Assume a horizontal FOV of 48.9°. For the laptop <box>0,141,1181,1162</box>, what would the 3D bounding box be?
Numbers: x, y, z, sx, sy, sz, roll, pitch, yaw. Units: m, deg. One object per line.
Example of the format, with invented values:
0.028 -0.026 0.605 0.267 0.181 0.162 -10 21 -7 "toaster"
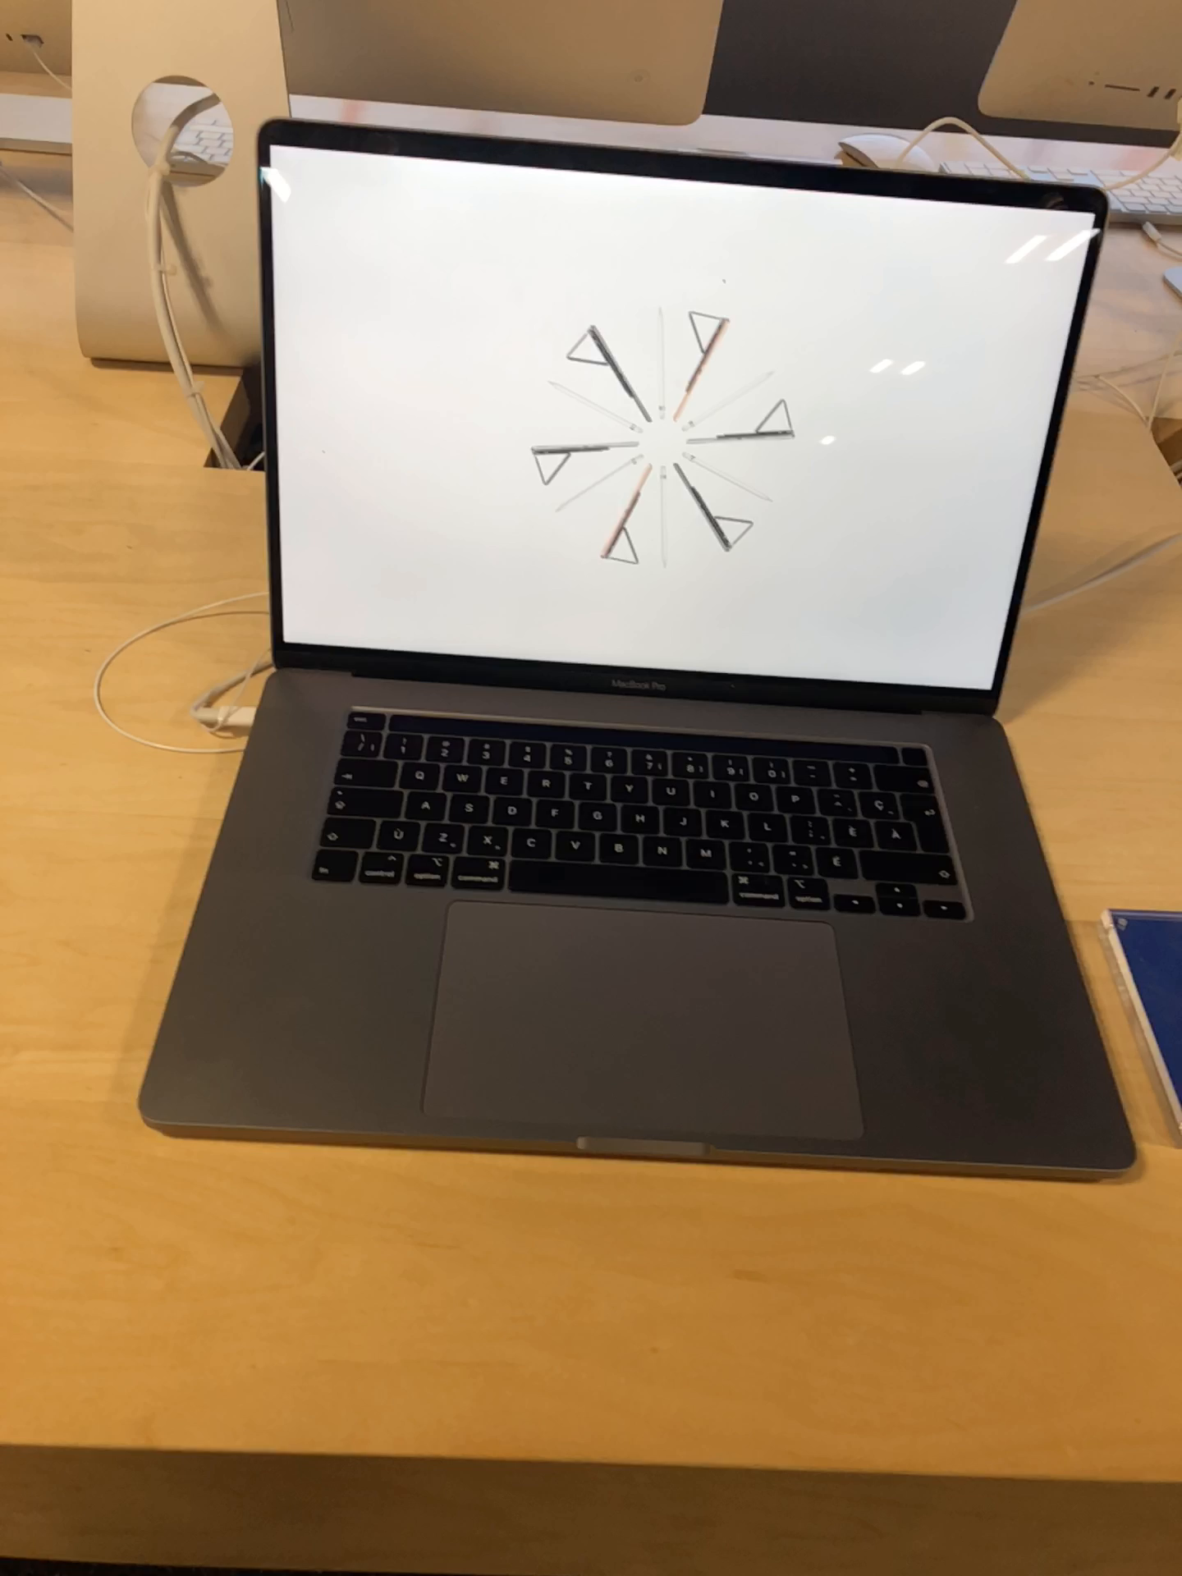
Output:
0.030 -0.064 0.507 0.352 0.230 0.316 4 44 -2 "laptop"
